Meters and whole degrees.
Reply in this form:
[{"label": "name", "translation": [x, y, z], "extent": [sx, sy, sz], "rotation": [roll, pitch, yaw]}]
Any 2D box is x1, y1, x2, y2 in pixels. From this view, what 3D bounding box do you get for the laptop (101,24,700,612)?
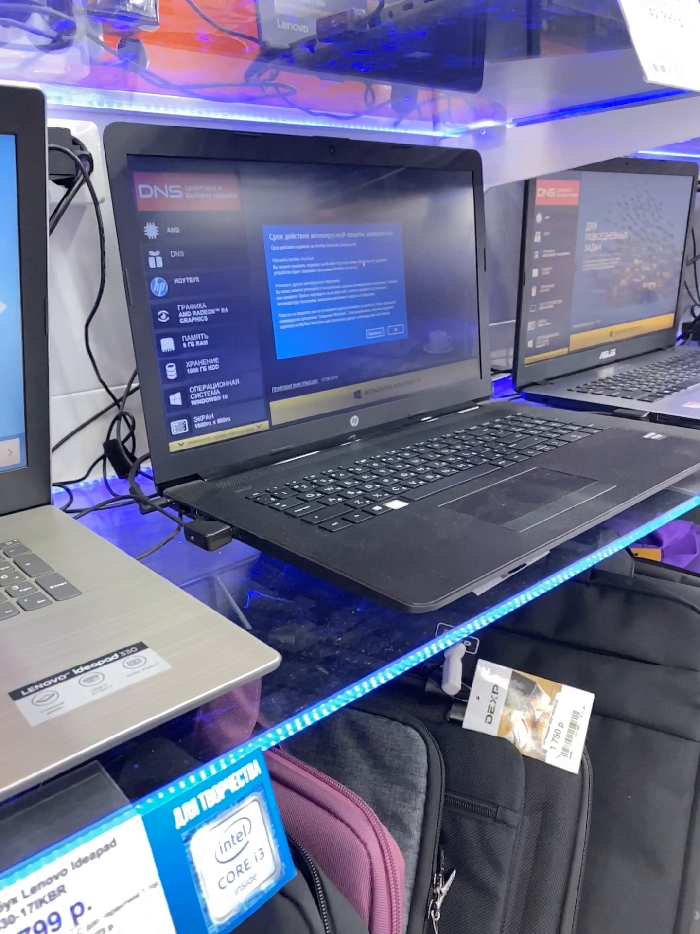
[{"label": "laptop", "translation": [0.086, -0.127, 0.563], "extent": [0.420, 0.260, 0.294], "rotation": [-16, 22, -40]}]
